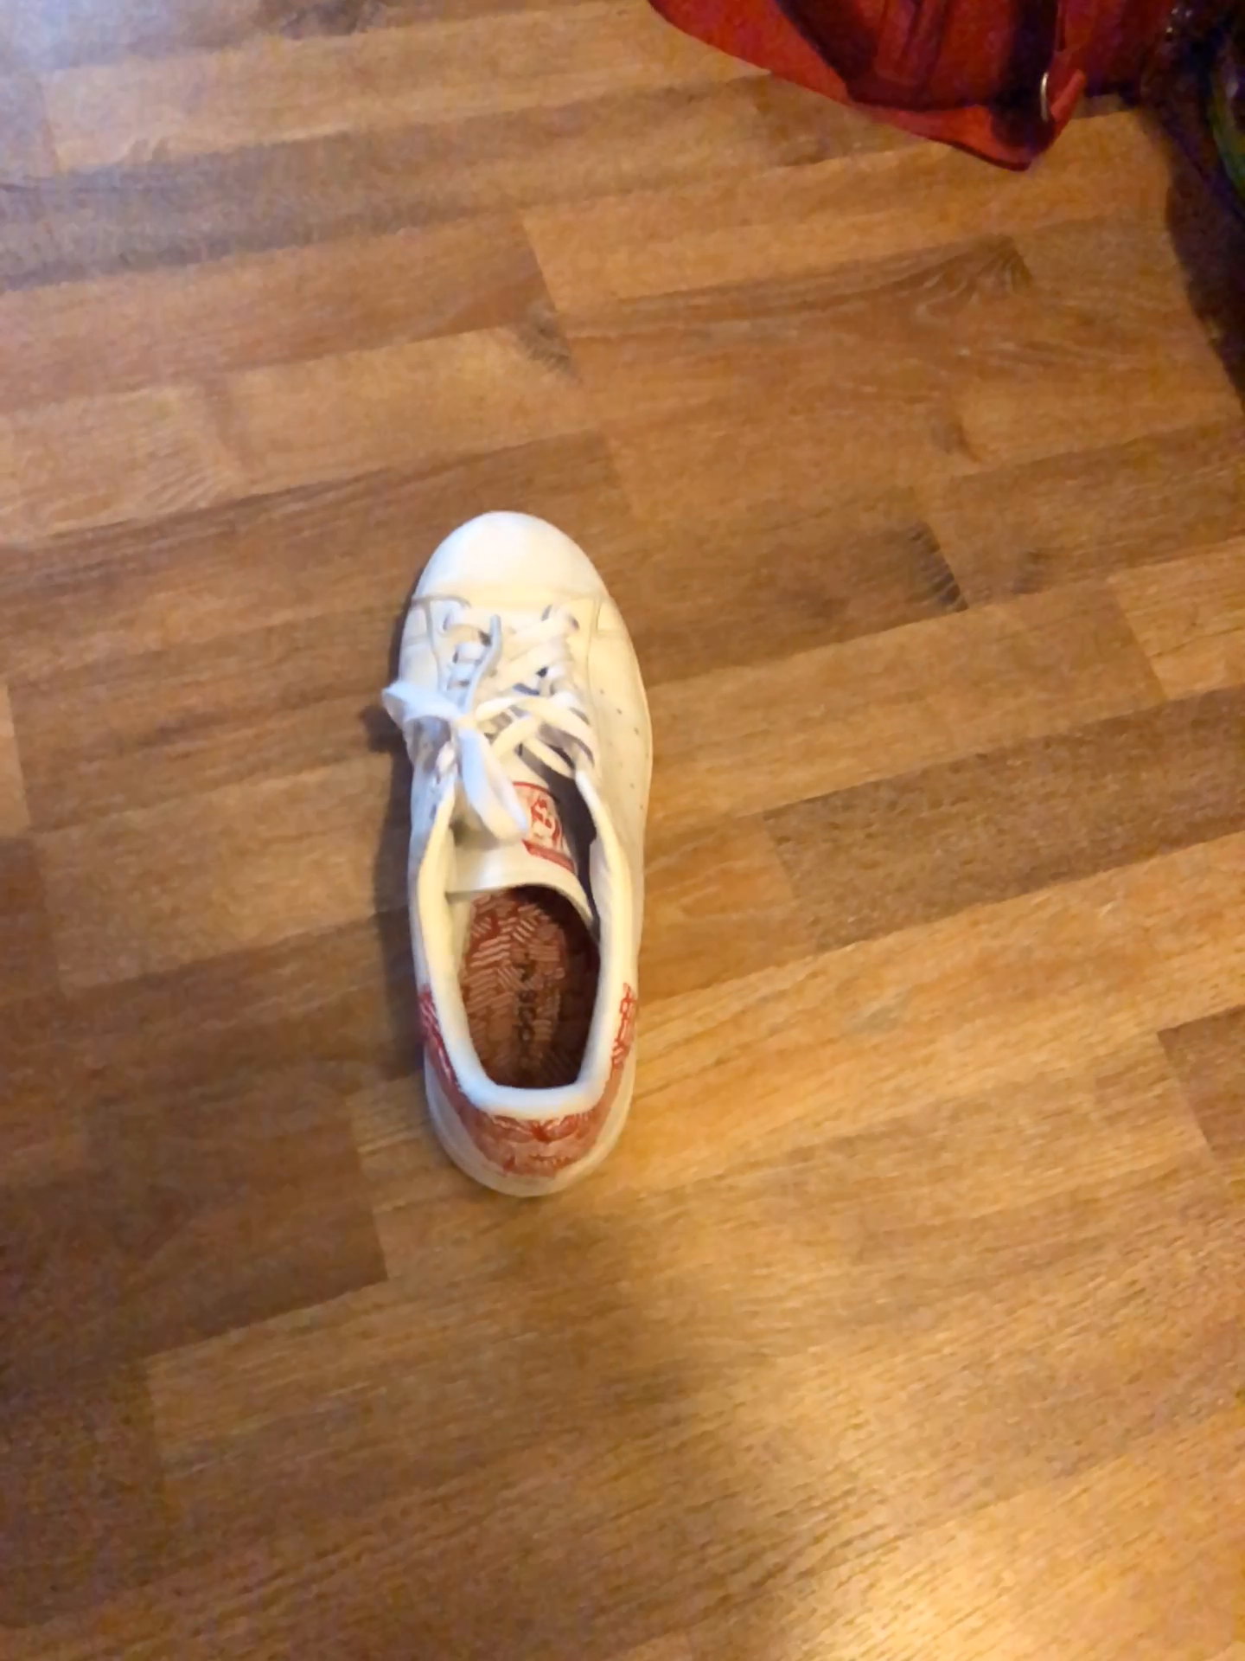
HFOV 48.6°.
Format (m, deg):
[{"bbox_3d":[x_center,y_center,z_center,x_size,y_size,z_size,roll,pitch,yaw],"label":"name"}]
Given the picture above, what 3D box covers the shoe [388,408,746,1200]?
[{"bbox_3d":[-0.029,-0.010,0.482,0.100,0.110,0.251,-1,67,-7],"label":"shoe"}]
